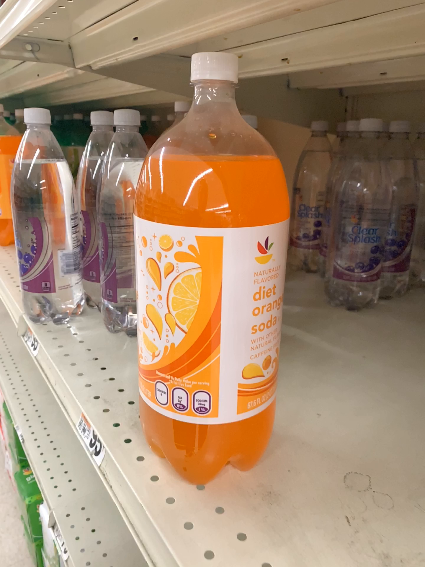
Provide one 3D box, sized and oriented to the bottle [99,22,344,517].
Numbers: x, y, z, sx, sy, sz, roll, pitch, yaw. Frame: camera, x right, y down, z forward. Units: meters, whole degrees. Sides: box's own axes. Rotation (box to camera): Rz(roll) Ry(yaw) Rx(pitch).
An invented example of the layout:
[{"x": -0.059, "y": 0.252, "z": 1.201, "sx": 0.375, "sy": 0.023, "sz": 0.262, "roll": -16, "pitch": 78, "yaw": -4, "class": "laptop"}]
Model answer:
[{"x": -0.003, "y": -0.007, "z": 0.317, "sx": 0.110, "sy": 0.289, "sz": 0.120, "roll": 0, "pitch": 19, "yaw": 0, "class": "bottle"}]
